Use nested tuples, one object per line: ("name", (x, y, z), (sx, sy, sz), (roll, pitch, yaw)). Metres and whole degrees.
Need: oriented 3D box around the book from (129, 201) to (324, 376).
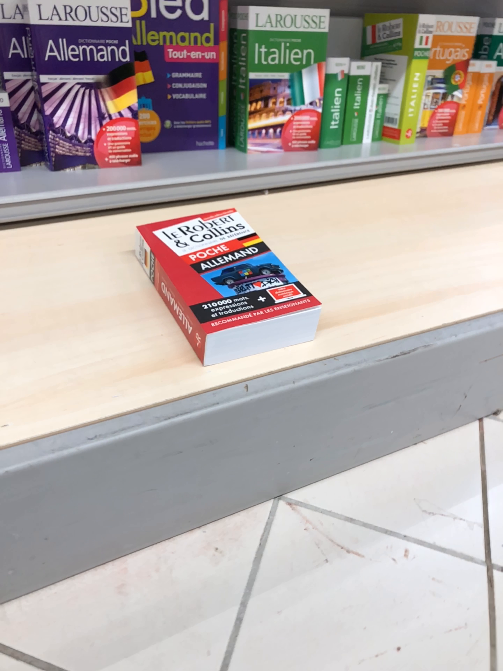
("book", (-0.030, -0.052, 0.505), (0.110, 0.050, 0.171), (-15, 46, -23))
